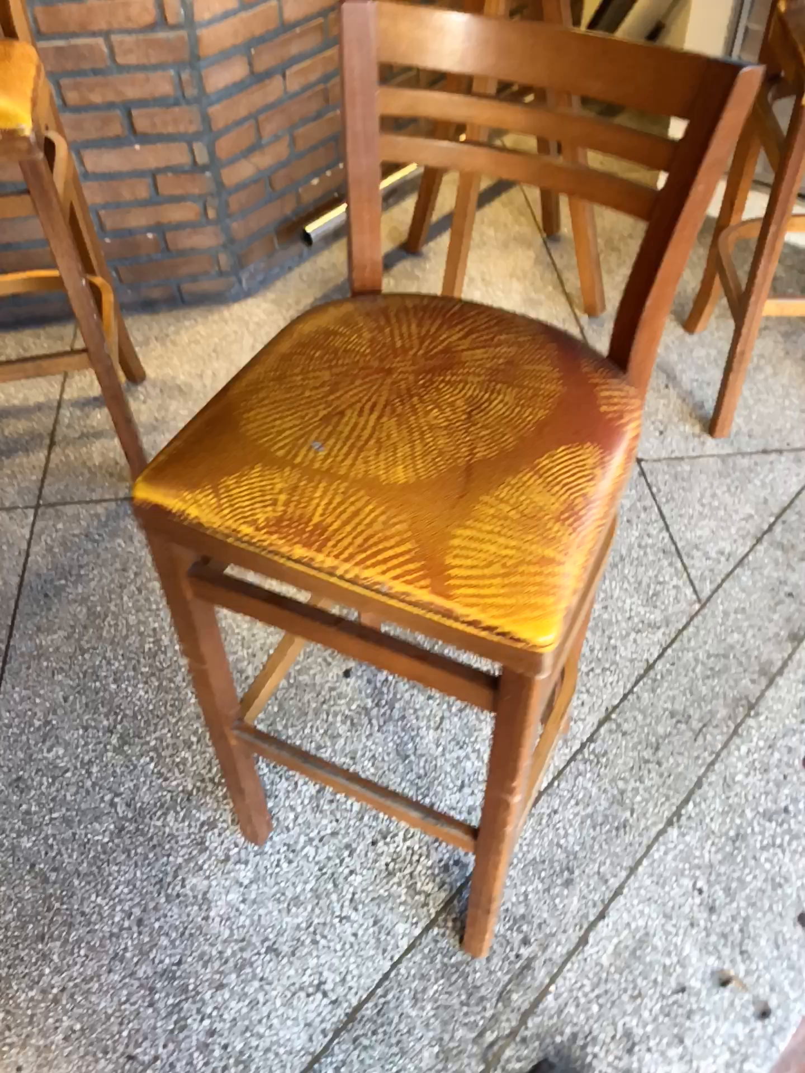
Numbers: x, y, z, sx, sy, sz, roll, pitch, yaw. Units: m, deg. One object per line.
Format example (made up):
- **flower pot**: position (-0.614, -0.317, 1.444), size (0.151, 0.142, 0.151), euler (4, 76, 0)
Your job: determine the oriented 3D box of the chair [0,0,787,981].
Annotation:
- **chair**: position (0.021, 0.032, 0.961), size (0.401, 0.973, 0.432), euler (20, 52, 19)
